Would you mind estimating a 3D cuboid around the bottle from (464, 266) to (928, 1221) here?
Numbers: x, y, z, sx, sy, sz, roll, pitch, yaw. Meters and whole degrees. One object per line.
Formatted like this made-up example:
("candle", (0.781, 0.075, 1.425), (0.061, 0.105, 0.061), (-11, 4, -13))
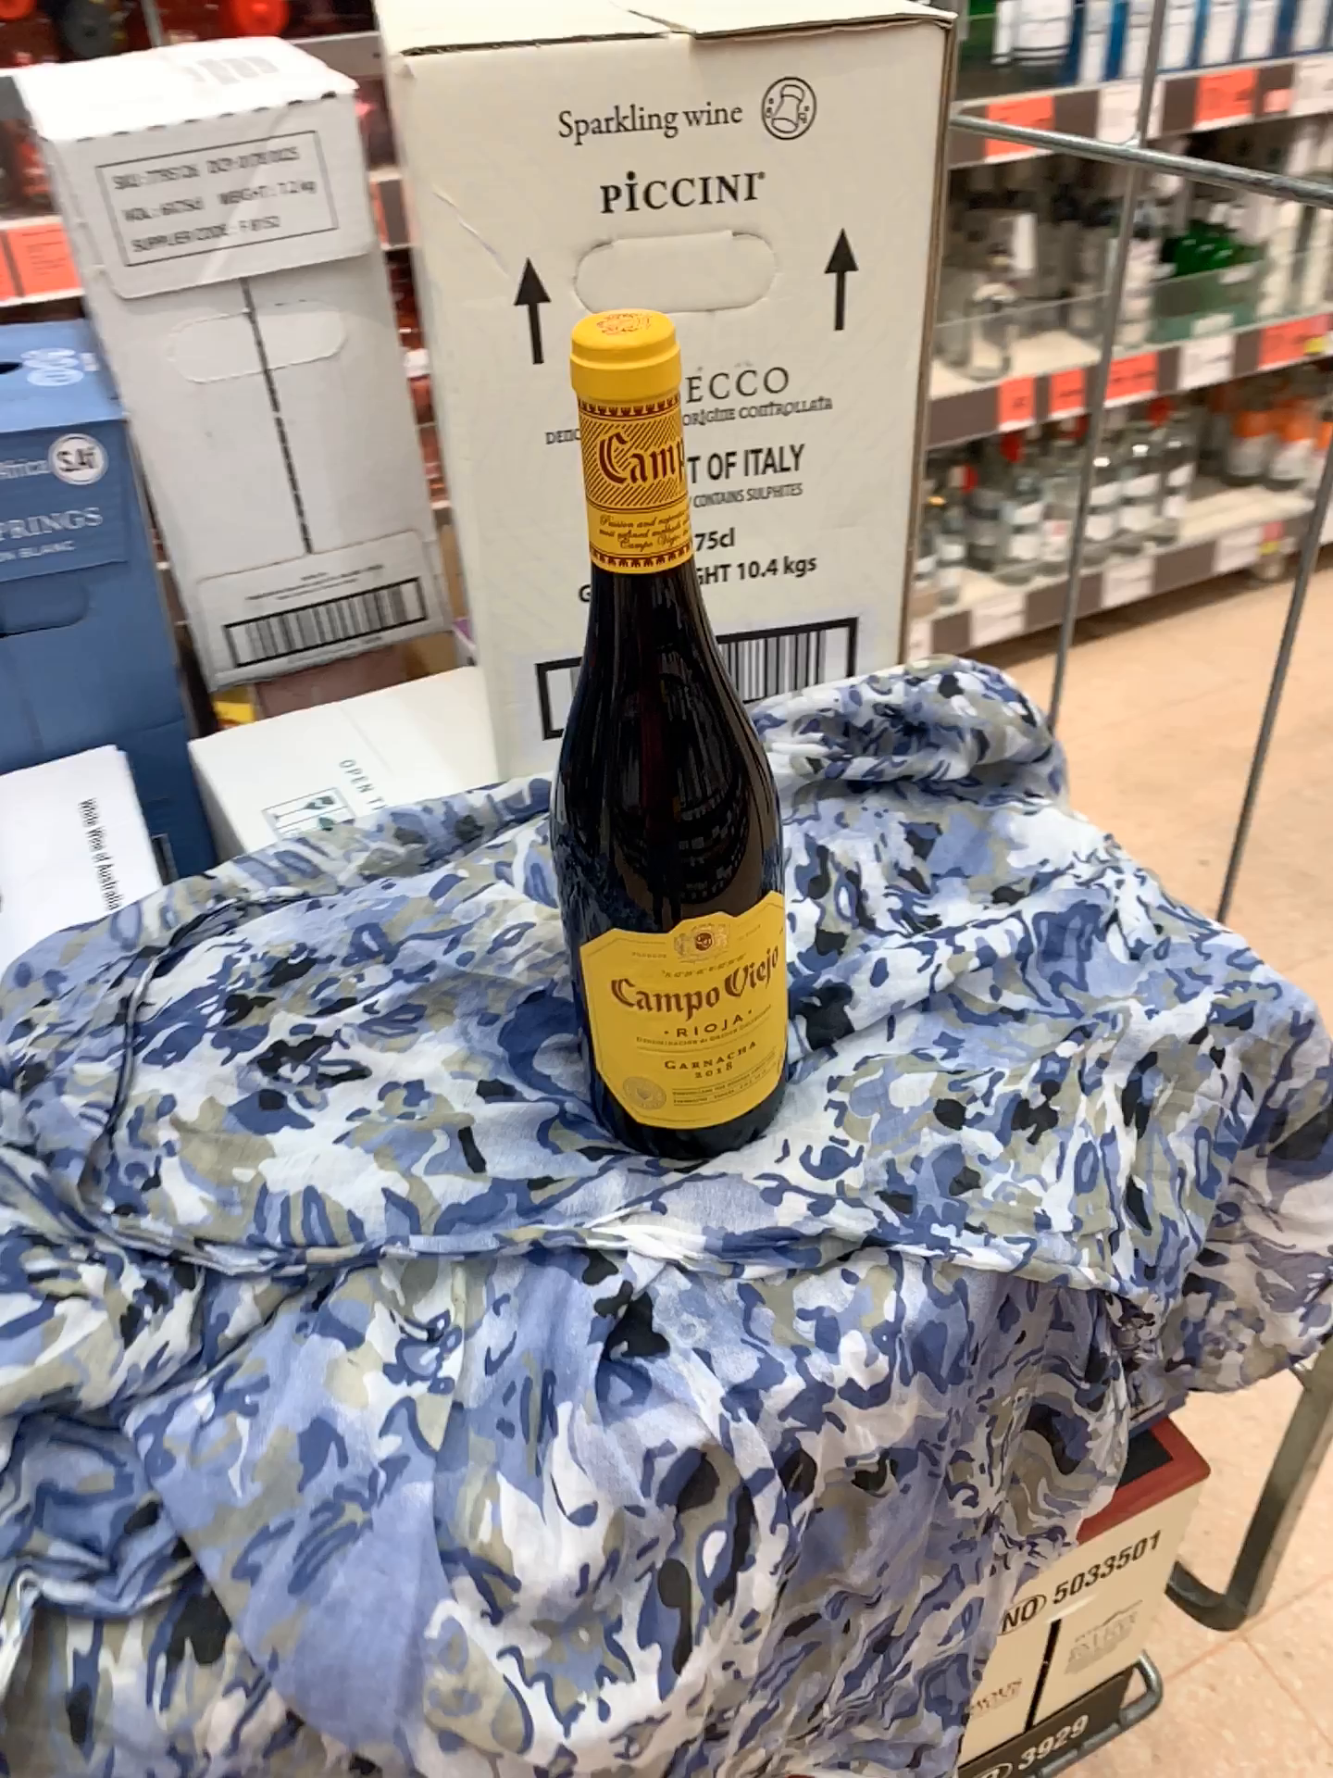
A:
("bottle", (0.009, -0.033, 0.423), (0.090, 0.270, 0.091), (-2, 37, 1))
